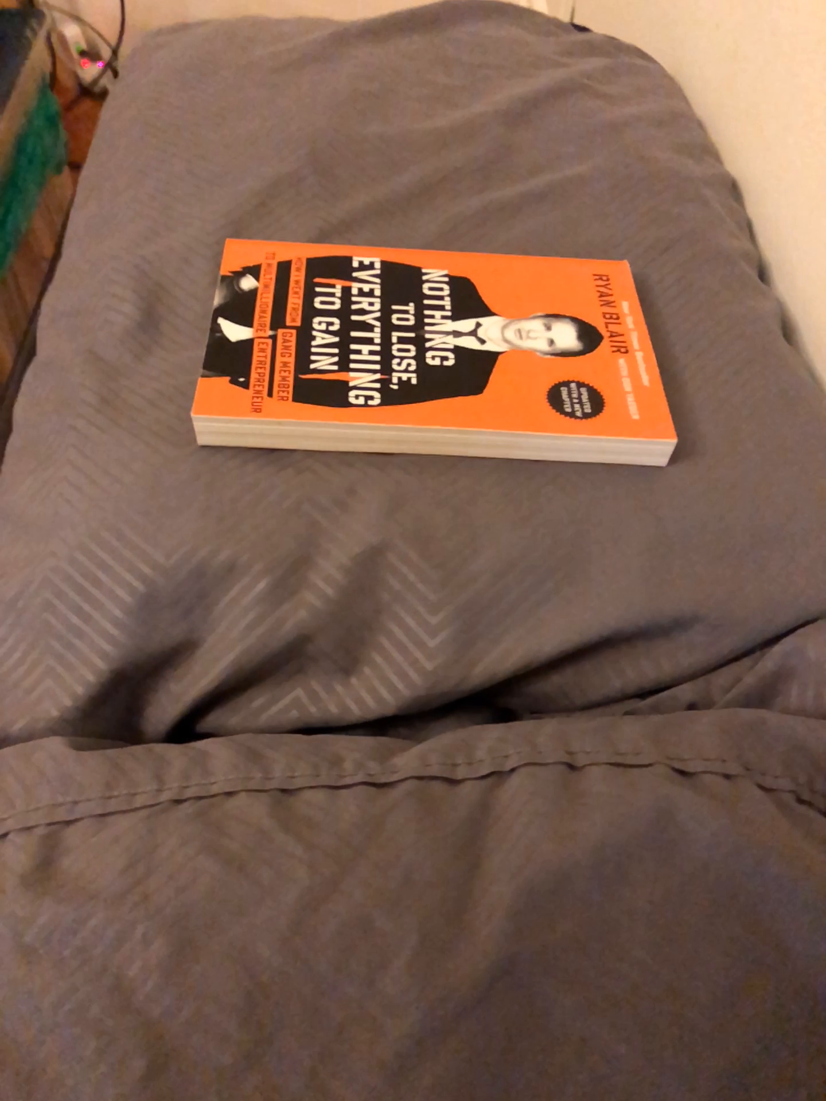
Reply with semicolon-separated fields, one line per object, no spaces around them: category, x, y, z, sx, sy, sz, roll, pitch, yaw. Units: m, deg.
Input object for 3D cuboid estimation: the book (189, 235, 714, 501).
book;0.017;-0.094;0.450;0.230;0.020;0.151;2;54;-4
